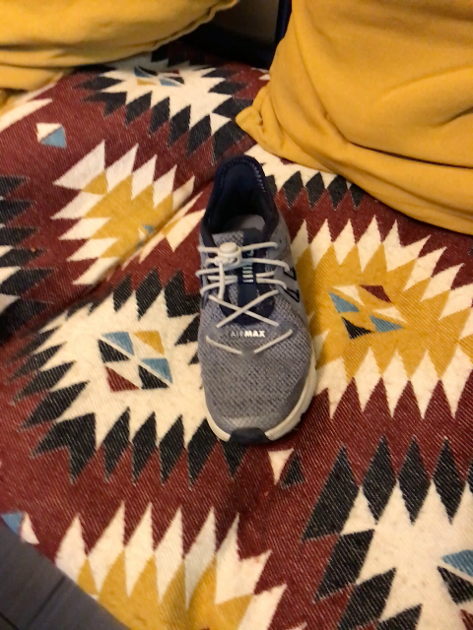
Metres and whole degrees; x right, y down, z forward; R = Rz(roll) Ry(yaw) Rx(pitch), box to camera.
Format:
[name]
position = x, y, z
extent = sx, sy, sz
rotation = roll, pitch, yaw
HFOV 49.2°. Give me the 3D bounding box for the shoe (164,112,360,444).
[shoe]
position = 0.016, -0.032, 0.336
extent = 0.094, 0.074, 0.212
rotation = -1, 58, 3
